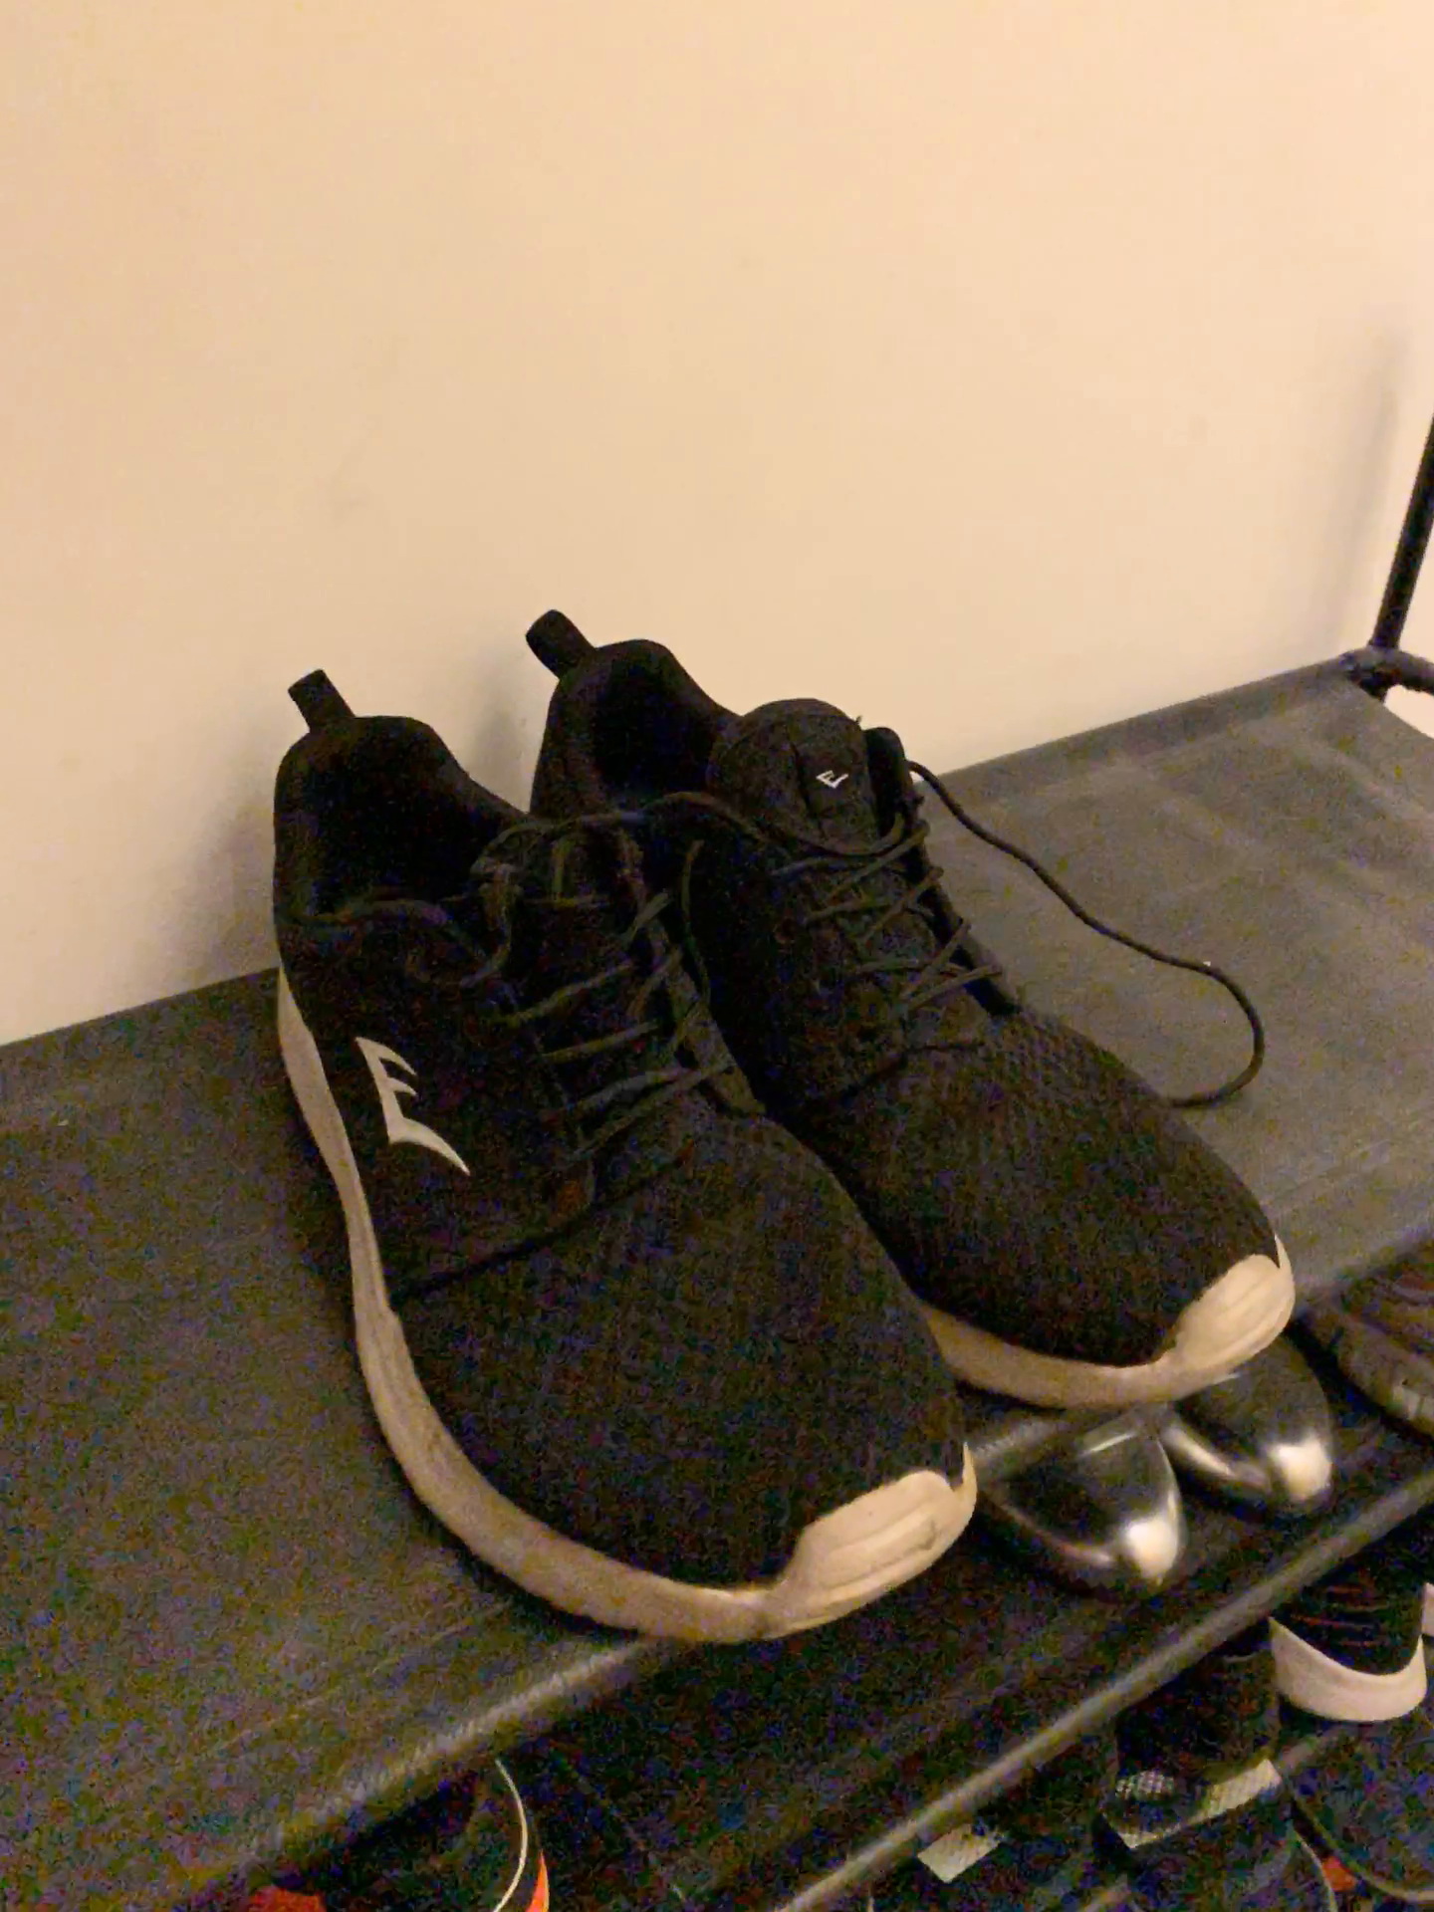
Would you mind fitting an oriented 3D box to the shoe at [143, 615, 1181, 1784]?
[{"bbox_3d":[-0.043,0.019,0.370,0.110,0.099,0.302,-17,37,-25],"label":"shoe"}]

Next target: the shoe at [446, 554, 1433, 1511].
[{"bbox_3d":[0.044,-0.013,0.418,0.120,0.099,0.302,-19,38,-27],"label":"shoe"}]
